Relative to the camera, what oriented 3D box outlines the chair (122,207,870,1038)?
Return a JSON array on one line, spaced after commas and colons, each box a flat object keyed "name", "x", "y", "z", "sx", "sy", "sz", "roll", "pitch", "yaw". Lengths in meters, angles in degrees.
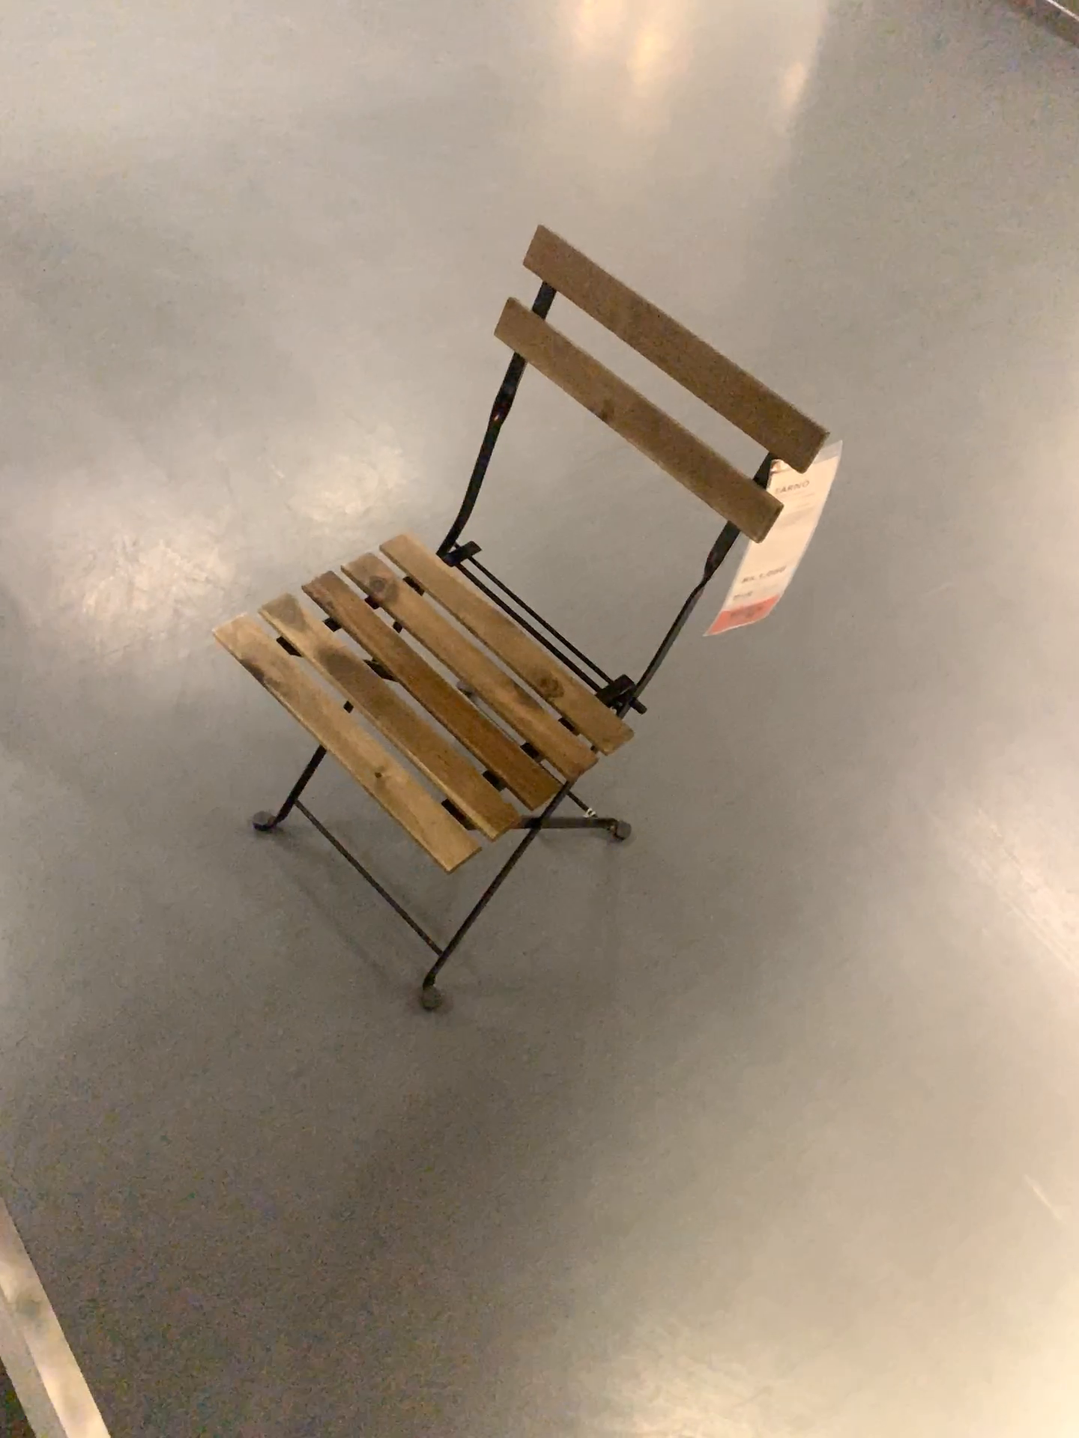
[{"name": "chair", "x": -0.068, "y": -0.073, "z": 1.247, "sx": 0.501, "sy": 0.698, "sz": 0.430, "roll": -37, "pitch": 69, "yaw": -28}]
